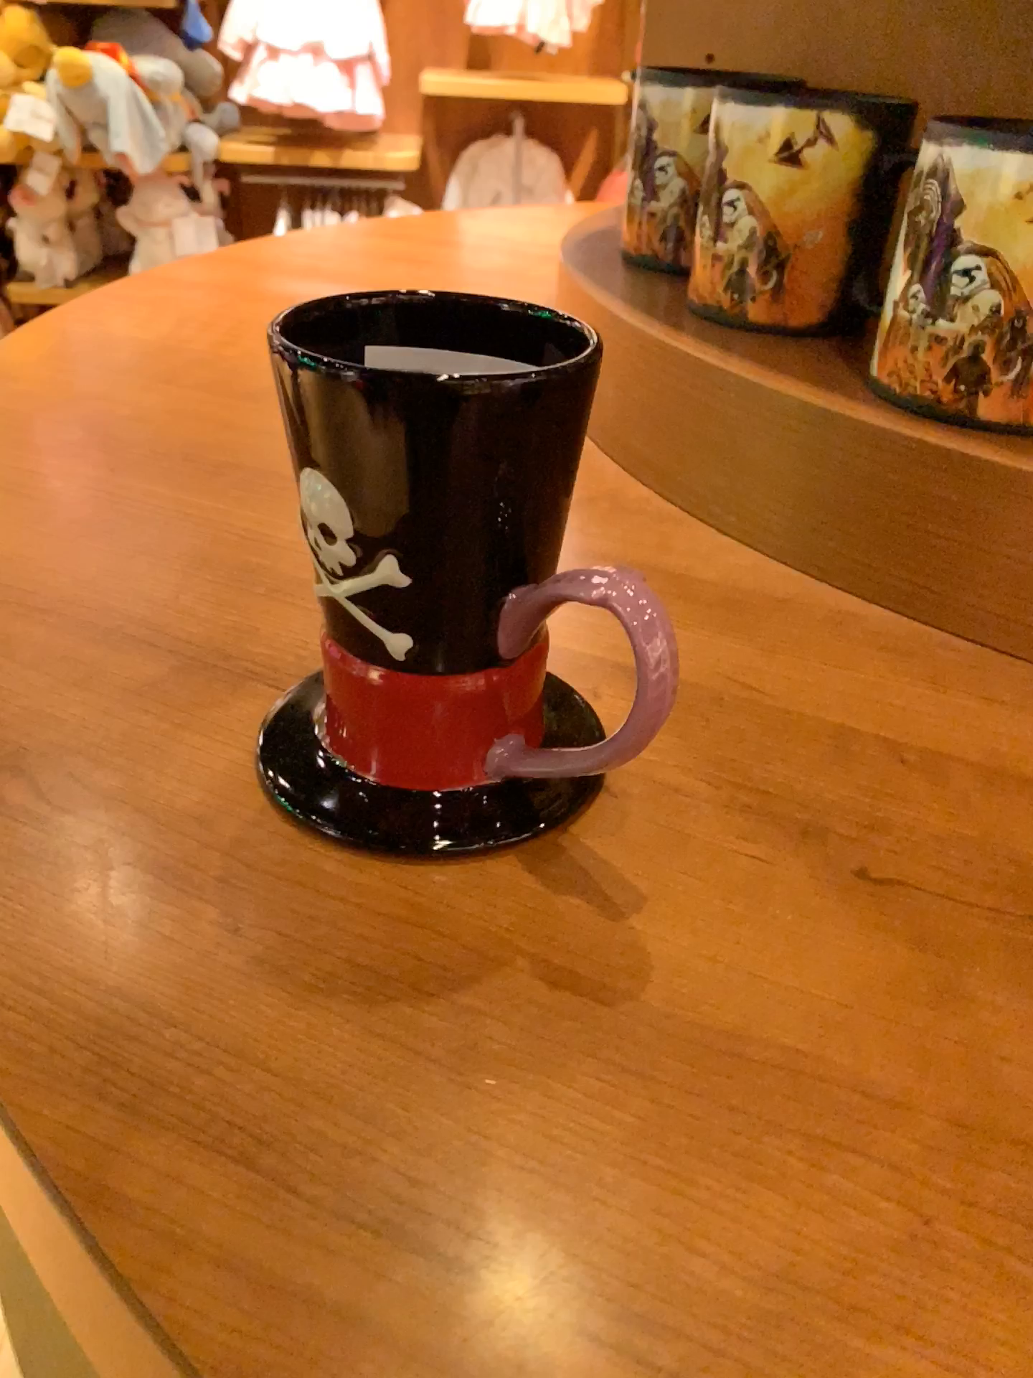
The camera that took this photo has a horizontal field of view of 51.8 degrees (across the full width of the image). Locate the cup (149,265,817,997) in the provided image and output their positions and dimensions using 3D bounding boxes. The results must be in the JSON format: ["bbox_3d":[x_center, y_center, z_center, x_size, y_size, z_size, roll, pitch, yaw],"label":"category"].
[{"bbox_3d":[-0.015,-0.029,0.309,0.110,0.144,0.134,-24,41,-36],"label":"cup"}]
